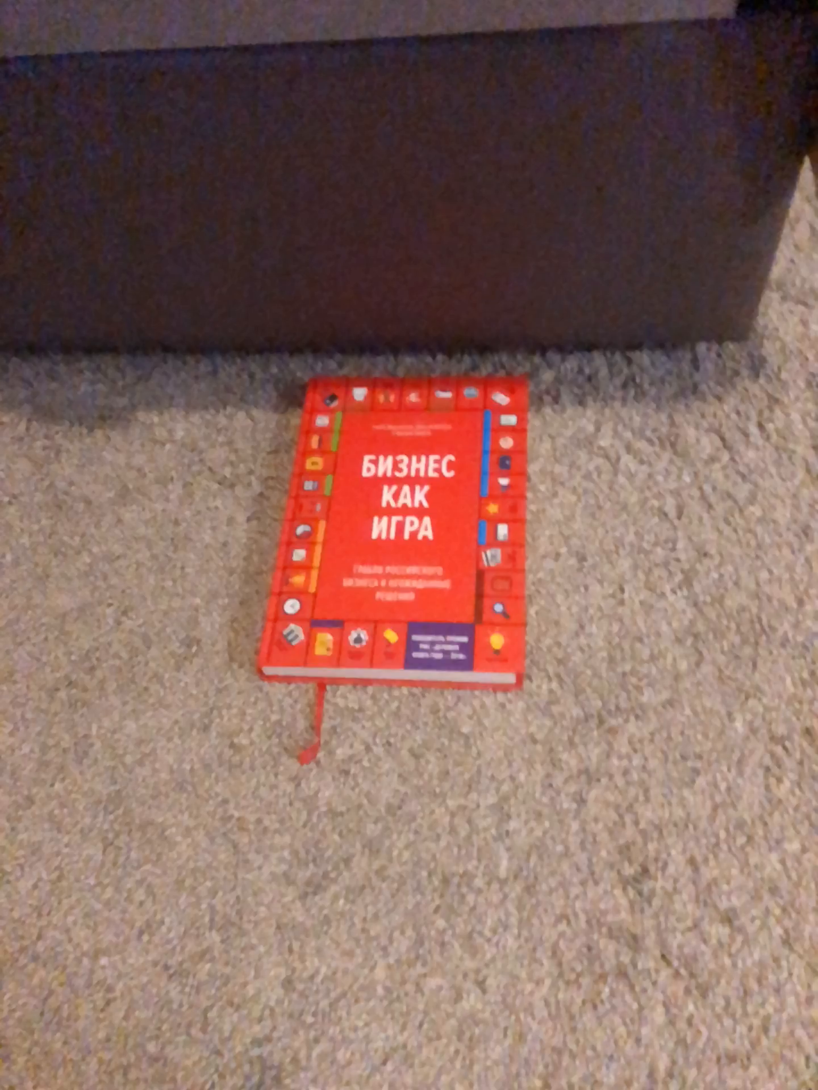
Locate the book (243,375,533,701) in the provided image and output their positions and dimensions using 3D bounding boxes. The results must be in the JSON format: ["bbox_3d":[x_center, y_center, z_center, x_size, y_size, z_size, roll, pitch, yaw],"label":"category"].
[{"bbox_3d":[-0.004,-0.015,0.625,0.179,0.033,0.247,0,57,7],"label":"book"}]
